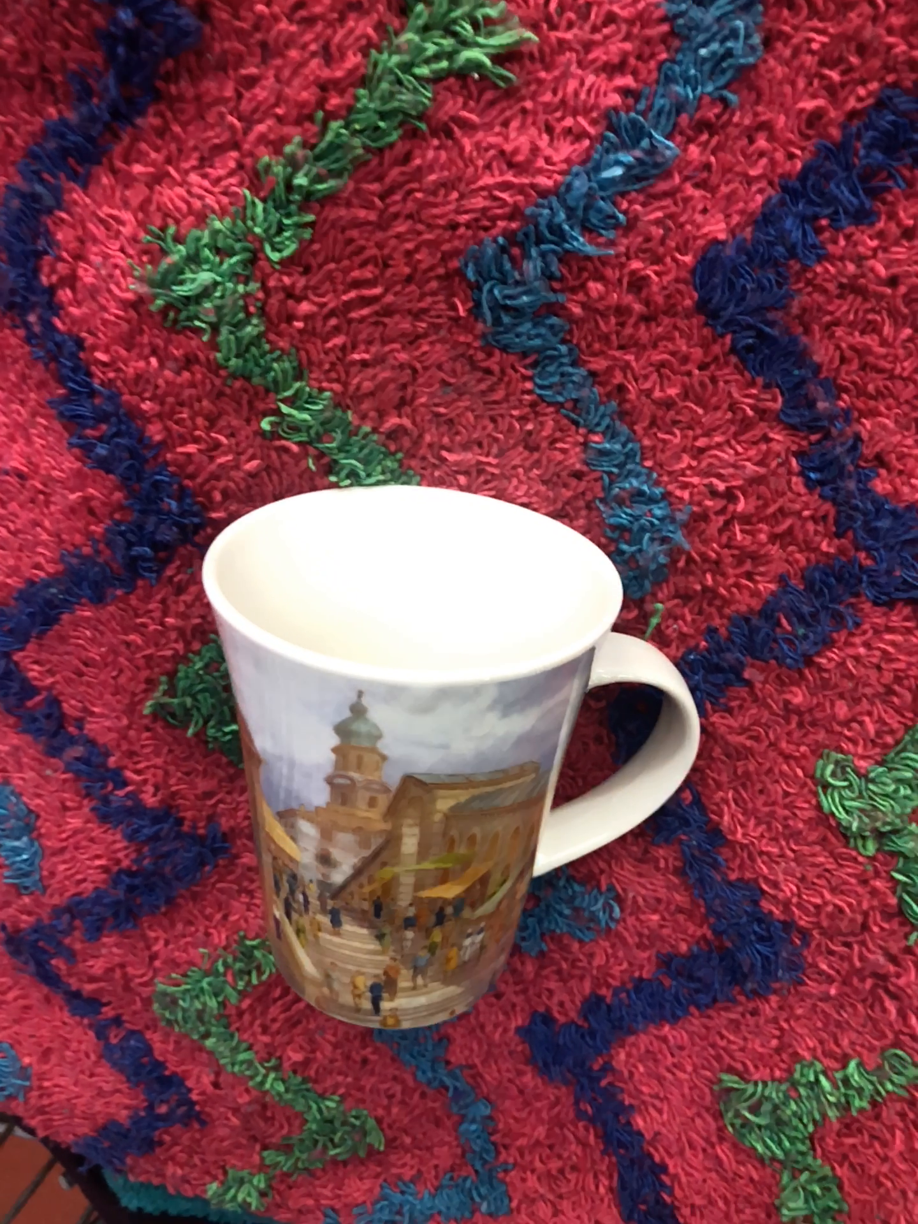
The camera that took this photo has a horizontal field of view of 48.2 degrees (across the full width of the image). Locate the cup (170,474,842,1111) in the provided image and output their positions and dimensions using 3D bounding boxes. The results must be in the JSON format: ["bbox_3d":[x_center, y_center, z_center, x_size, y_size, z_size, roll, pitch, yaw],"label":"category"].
[{"bbox_3d":[-0.001,0.029,0.226,0.110,0.090,0.090,-4,119,-20],"label":"cup"}]
